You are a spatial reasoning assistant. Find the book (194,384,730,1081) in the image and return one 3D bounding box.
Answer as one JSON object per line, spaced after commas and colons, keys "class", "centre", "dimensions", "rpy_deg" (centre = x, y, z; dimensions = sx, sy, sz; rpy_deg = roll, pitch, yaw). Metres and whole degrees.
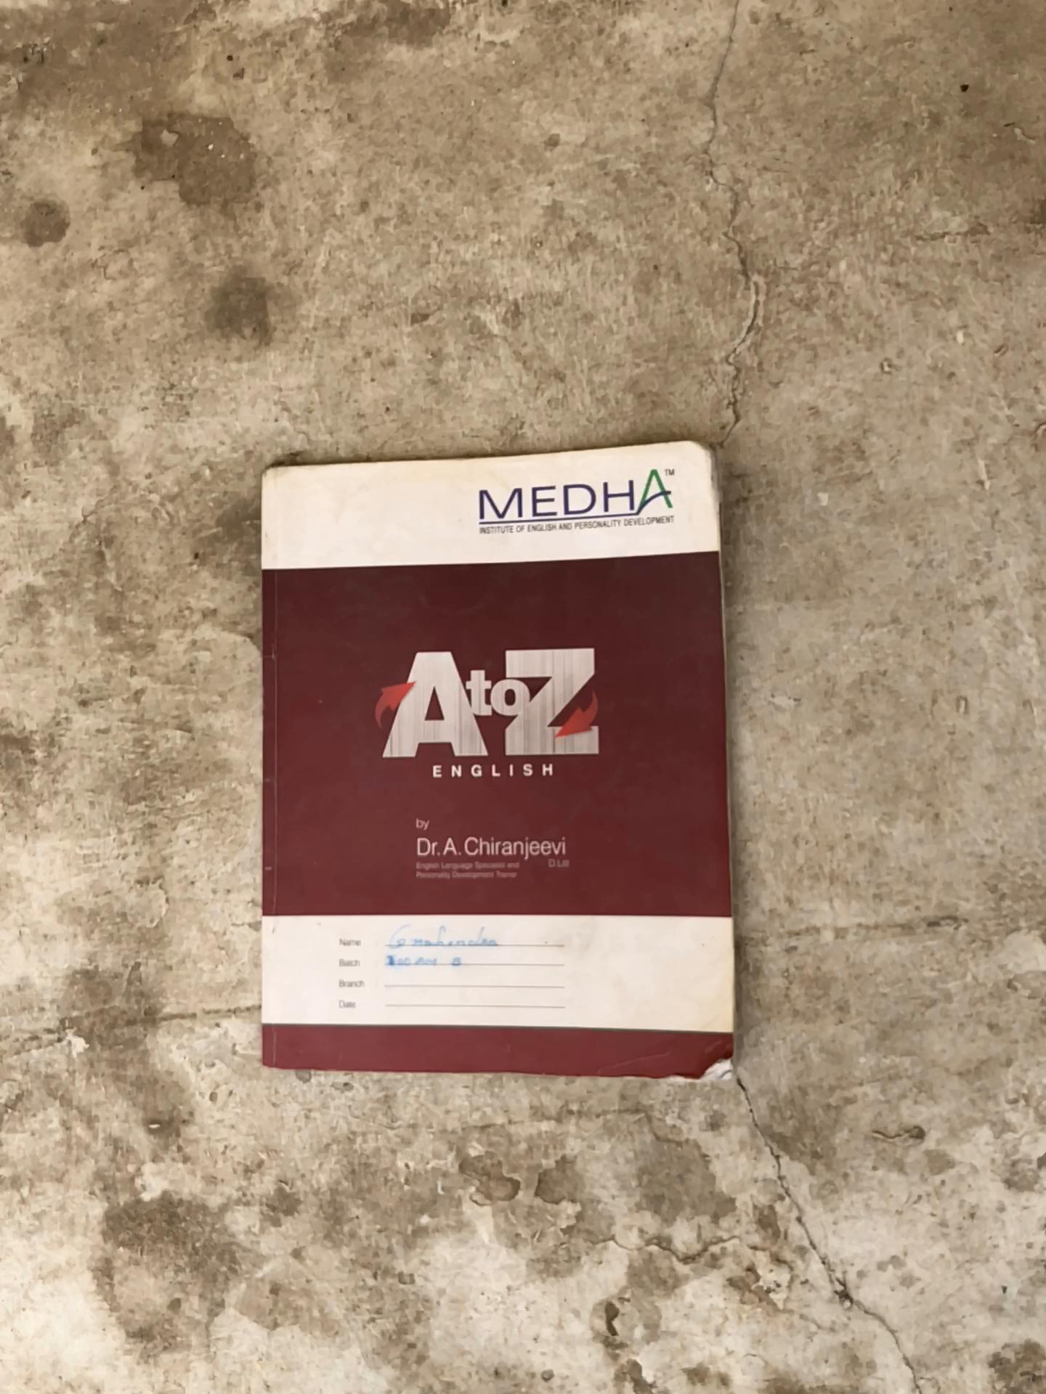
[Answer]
{"class": "book", "centre": [-0.028, 0.015, 0.496], "dimensions": [0.220, 0.030, 0.280], "rpy_deg": [-1, 85, 8]}
